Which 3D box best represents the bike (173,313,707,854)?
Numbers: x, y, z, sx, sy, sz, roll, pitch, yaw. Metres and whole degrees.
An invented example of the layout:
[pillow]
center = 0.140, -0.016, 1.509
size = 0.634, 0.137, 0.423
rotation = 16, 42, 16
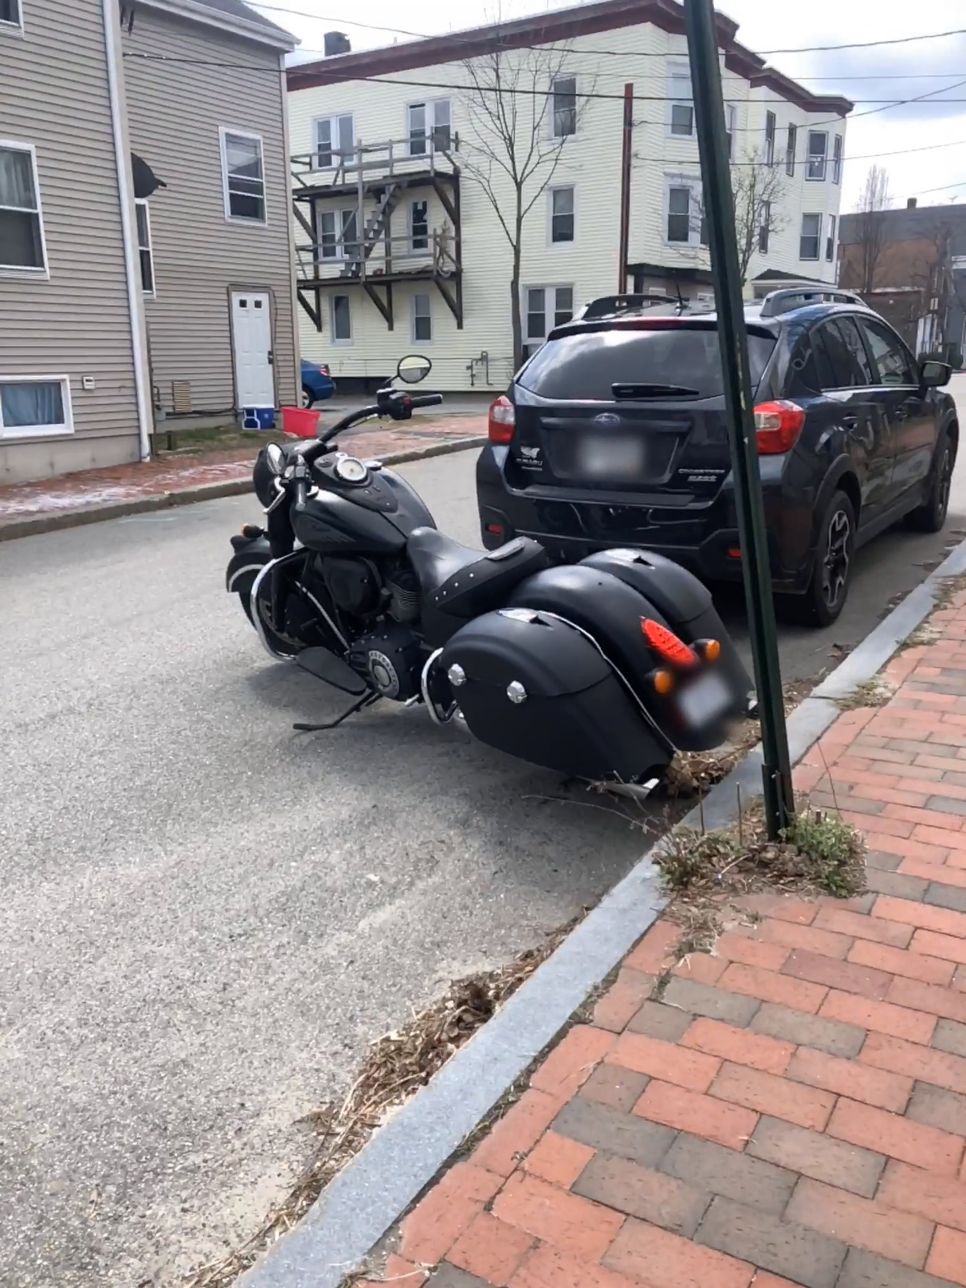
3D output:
[bike]
center = -0.164, -0.292, 3.227
size = 1.524, 1.144, 0.547
rotation = 17, 21, 31
